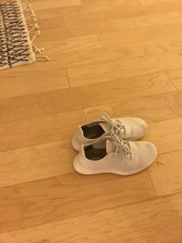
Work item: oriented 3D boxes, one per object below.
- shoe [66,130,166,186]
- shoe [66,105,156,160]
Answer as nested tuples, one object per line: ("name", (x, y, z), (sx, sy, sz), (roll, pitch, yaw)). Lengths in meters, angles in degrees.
("shoe", (0.068, 0.111, 0.617), (0.280, 0.070, 0.121), (-7, 54, -2))
("shoe", (0.061, 0.034, 0.672), (0.270, 0.070, 0.121), (-11, 54, -5))
